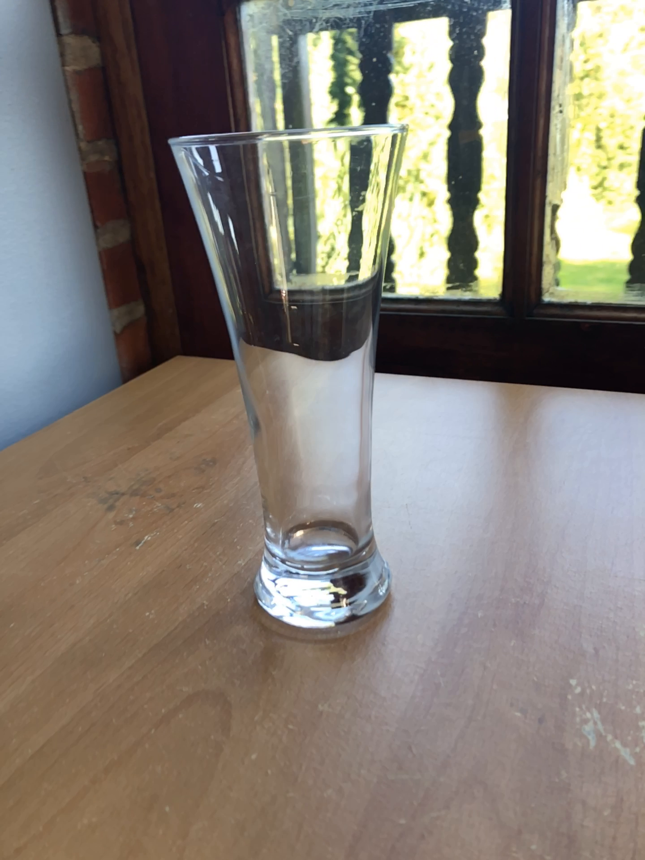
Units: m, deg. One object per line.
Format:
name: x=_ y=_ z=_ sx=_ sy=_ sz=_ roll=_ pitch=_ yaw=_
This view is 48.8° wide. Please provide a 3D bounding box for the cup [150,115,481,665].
cup: x=-0.004 y=-0.020 z=0.258 sx=0.077 sy=0.168 sz=0.082 roll=-2 pitch=22 yaw=1
